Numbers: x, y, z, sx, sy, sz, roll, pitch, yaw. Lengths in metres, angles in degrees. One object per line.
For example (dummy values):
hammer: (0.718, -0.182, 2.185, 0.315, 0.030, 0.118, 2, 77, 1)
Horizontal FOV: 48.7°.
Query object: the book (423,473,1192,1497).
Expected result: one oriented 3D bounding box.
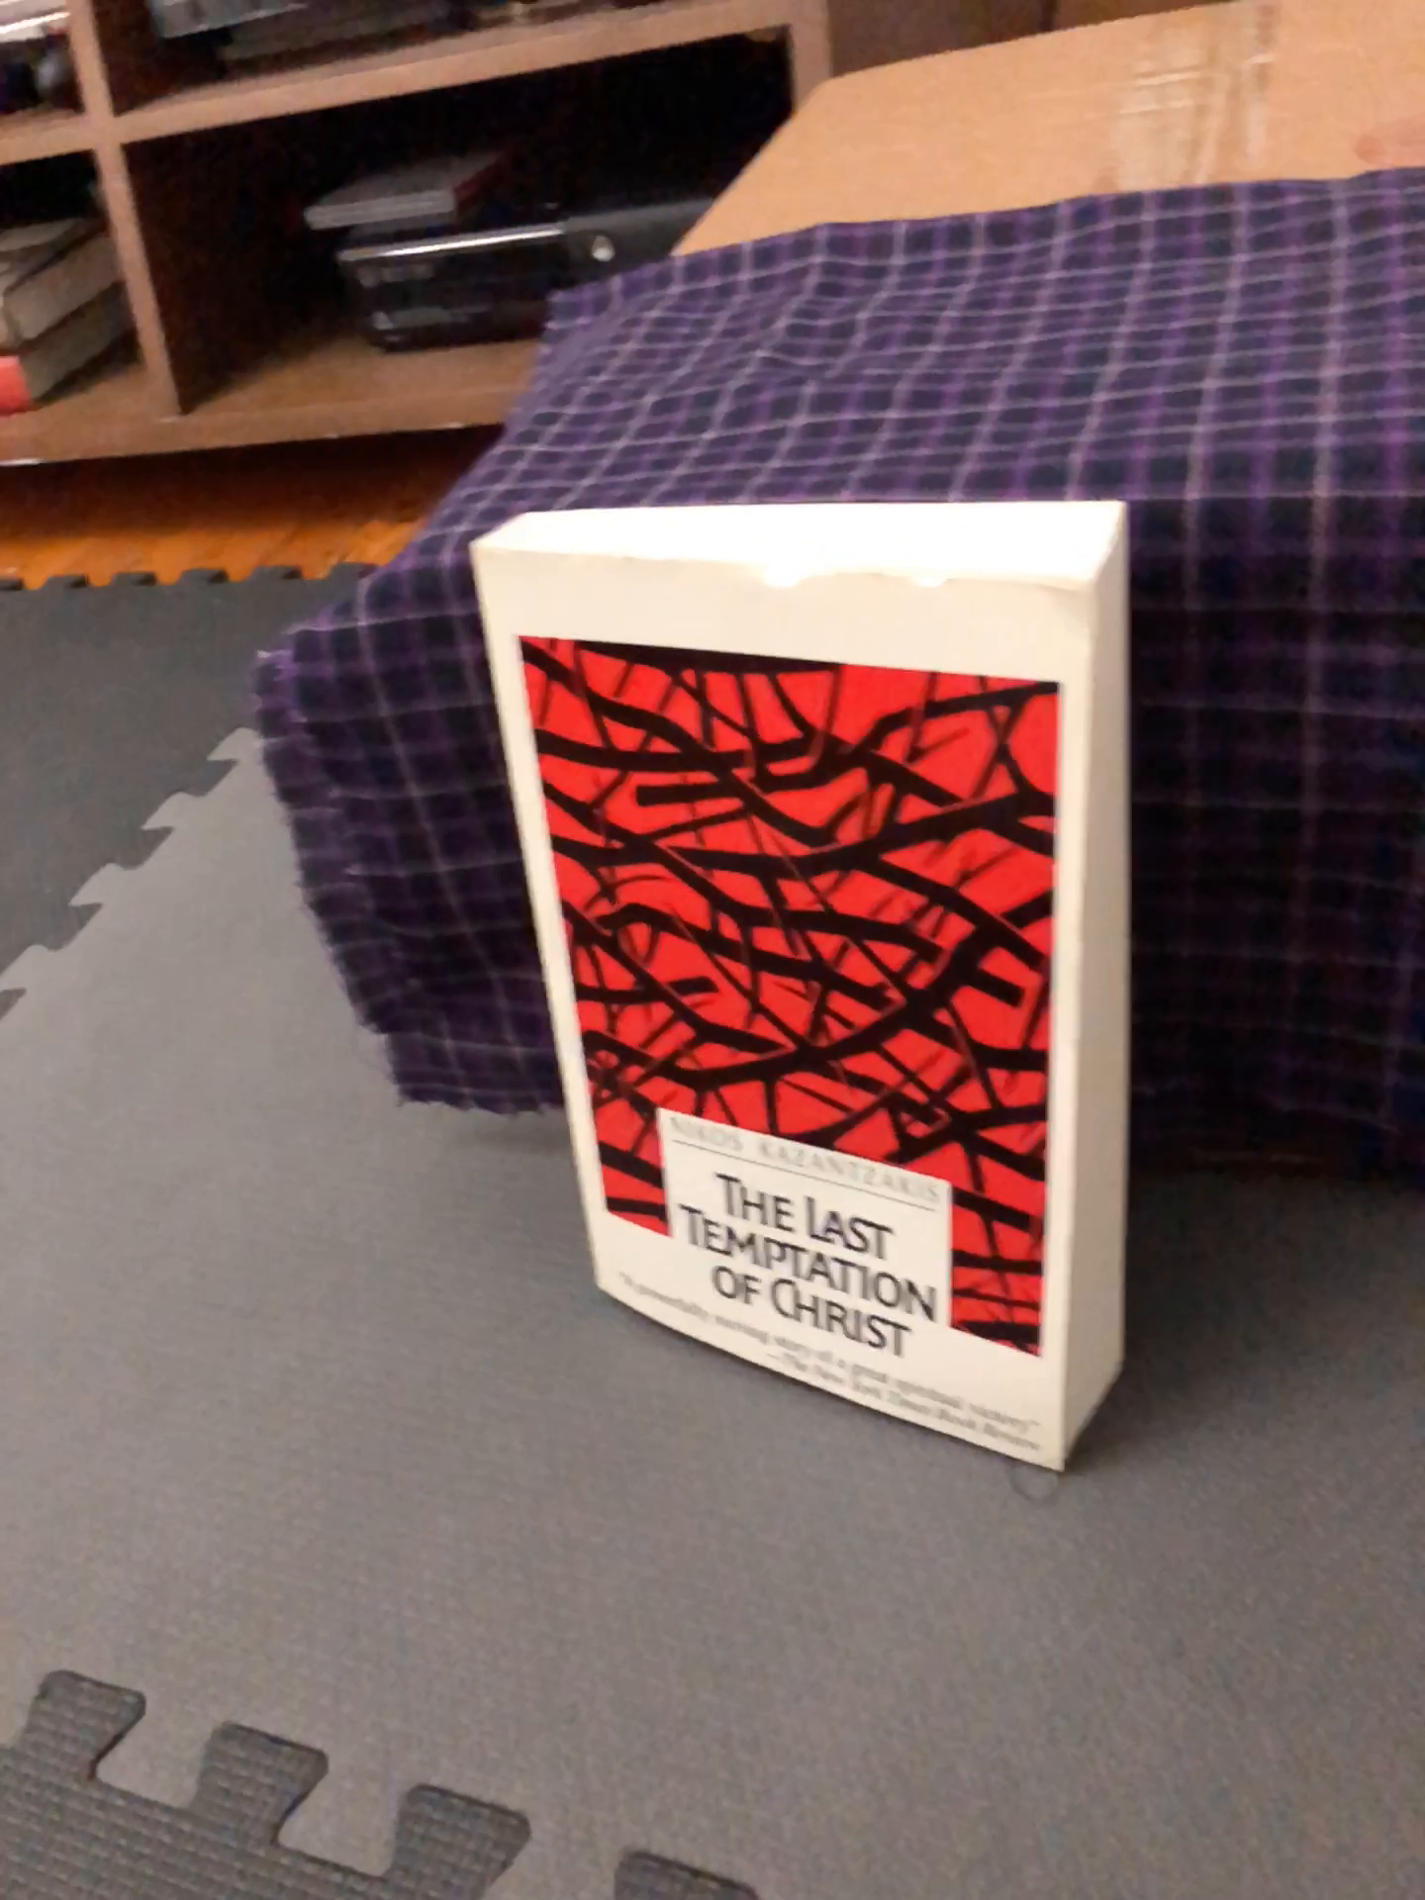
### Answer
book: (0.026, 0.003, 0.361, 0.150, 0.209, 0.050, 13, 35, 38)
